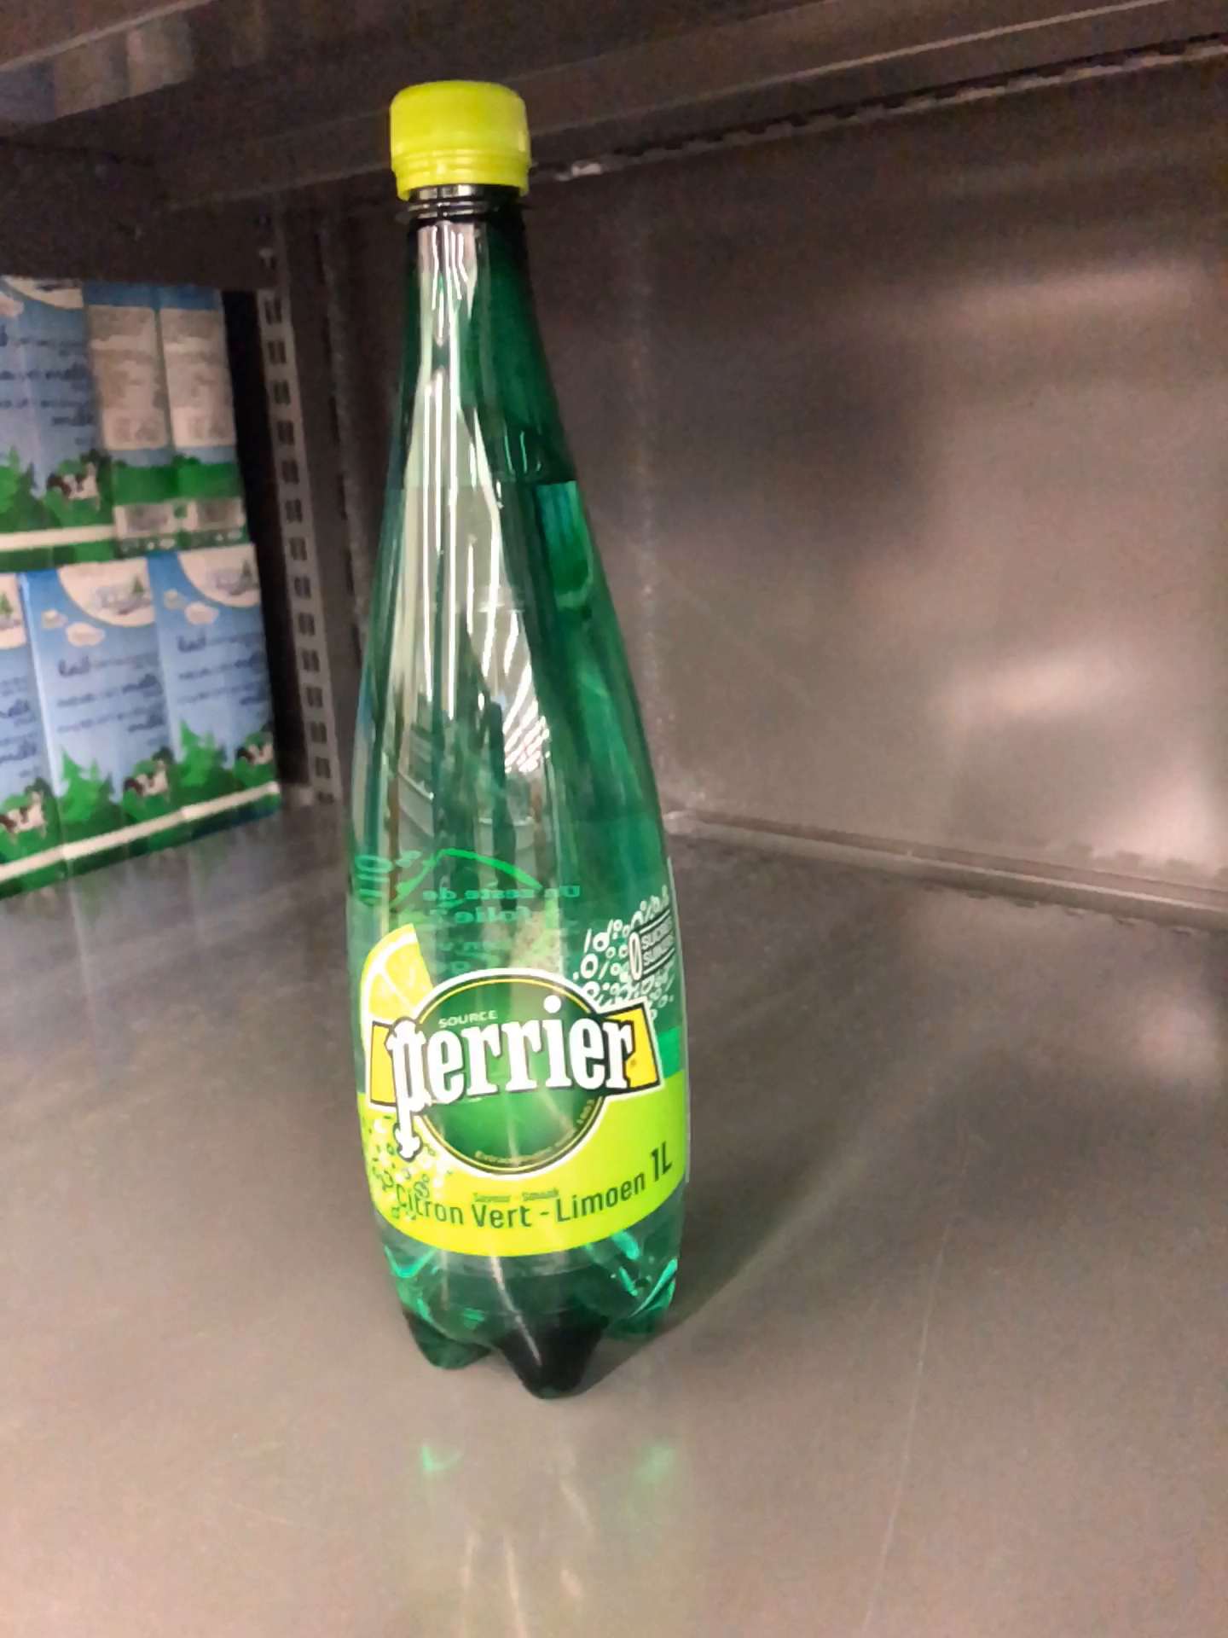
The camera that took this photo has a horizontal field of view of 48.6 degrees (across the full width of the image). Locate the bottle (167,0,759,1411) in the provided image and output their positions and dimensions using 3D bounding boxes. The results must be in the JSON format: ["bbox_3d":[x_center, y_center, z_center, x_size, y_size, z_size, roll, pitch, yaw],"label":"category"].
[{"bbox_3d":[-0.021,-0.017,0.334,0.100,0.299,0.090,0,15,11],"label":"bottle"}]
